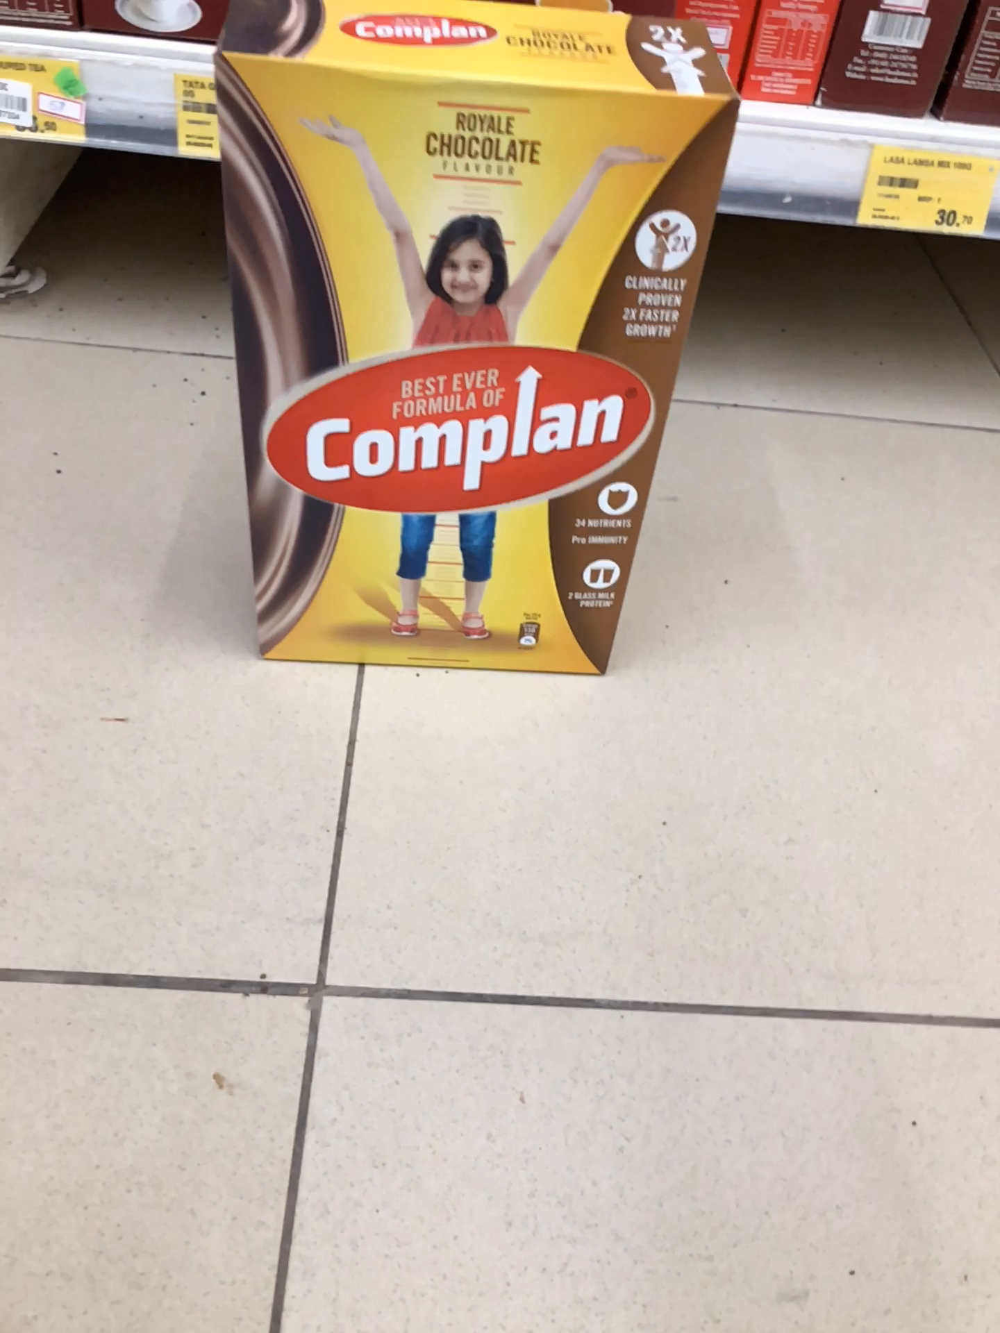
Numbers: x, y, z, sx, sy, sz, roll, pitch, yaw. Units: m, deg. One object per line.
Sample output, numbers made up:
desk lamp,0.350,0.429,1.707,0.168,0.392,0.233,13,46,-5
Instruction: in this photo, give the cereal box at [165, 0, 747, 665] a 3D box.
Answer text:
cereal box,-0.024,-0.115,0.417,0.160,0.248,0.070,2,46,-6
